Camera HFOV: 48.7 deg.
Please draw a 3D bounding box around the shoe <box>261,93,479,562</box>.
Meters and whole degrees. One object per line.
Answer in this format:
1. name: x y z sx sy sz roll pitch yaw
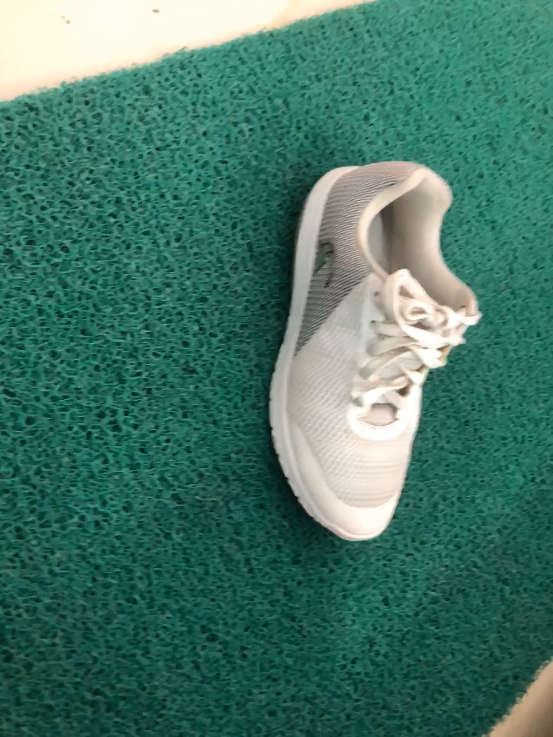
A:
1. shoe: 0.067 -0.022 0.439 0.101 0.099 0.290 7 83 -29
